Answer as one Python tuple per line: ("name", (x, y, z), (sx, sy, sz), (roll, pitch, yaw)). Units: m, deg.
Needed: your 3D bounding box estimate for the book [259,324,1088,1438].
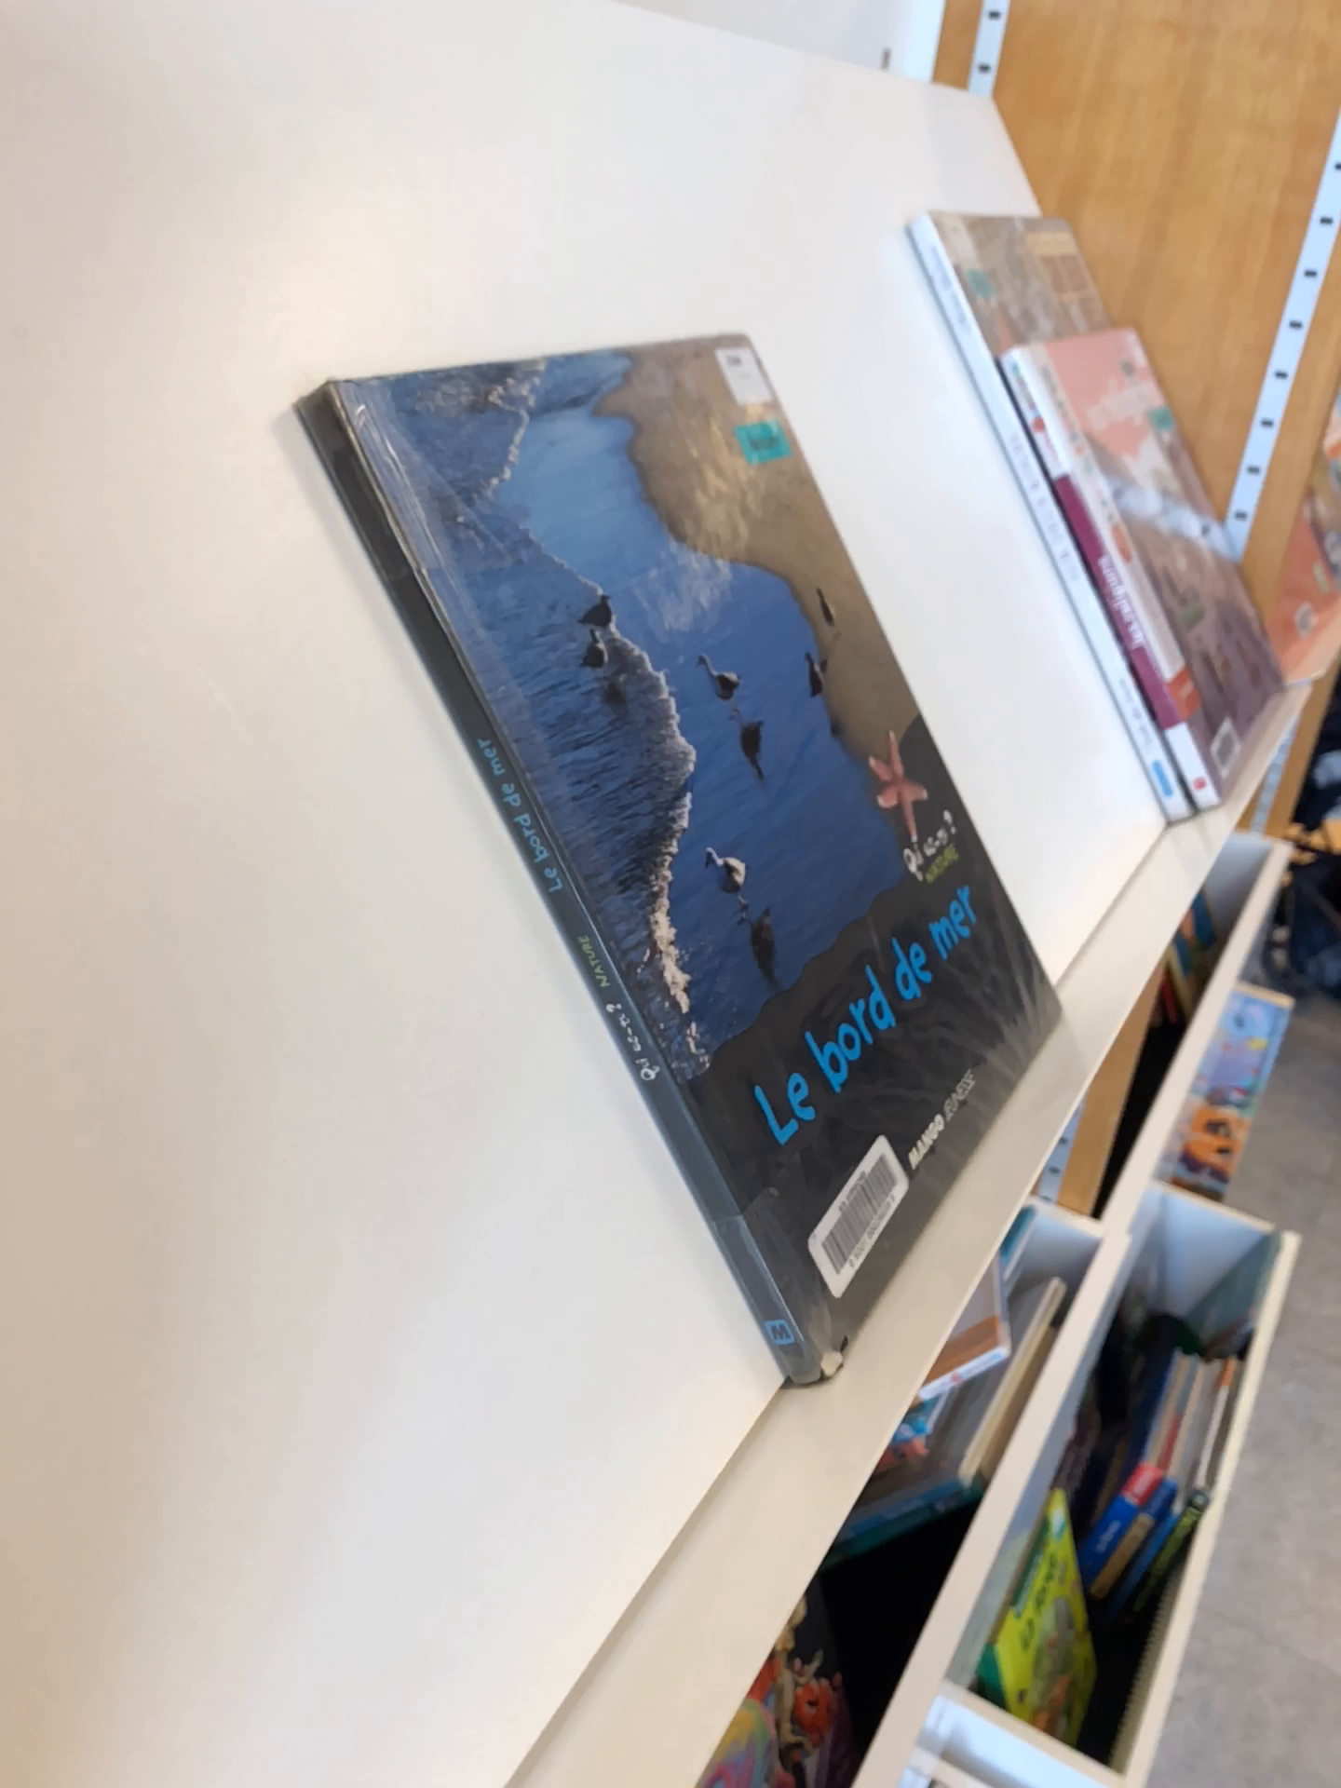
("book", (0.027, -0.027, 0.397), (0.020, 0.244, 0.210), (-21, 9, 35))
